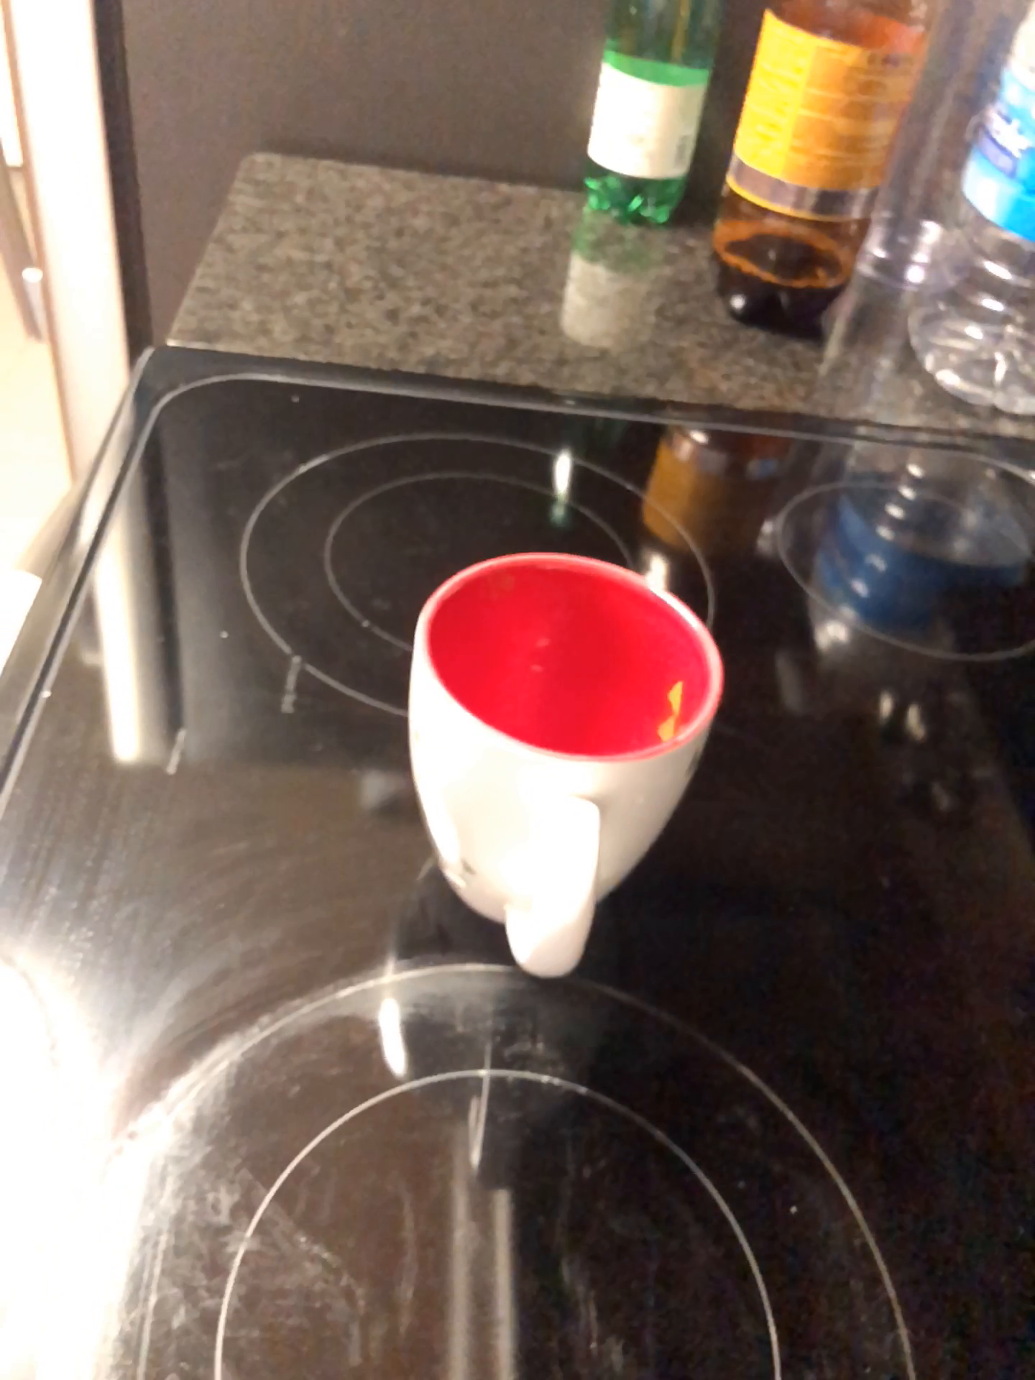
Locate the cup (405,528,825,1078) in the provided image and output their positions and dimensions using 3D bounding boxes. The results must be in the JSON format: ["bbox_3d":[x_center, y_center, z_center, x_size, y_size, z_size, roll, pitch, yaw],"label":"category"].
[{"bbox_3d":[0.019,0.034,0.374,0.100,0.100,0.141,4,43,-7],"label":"cup"}]
